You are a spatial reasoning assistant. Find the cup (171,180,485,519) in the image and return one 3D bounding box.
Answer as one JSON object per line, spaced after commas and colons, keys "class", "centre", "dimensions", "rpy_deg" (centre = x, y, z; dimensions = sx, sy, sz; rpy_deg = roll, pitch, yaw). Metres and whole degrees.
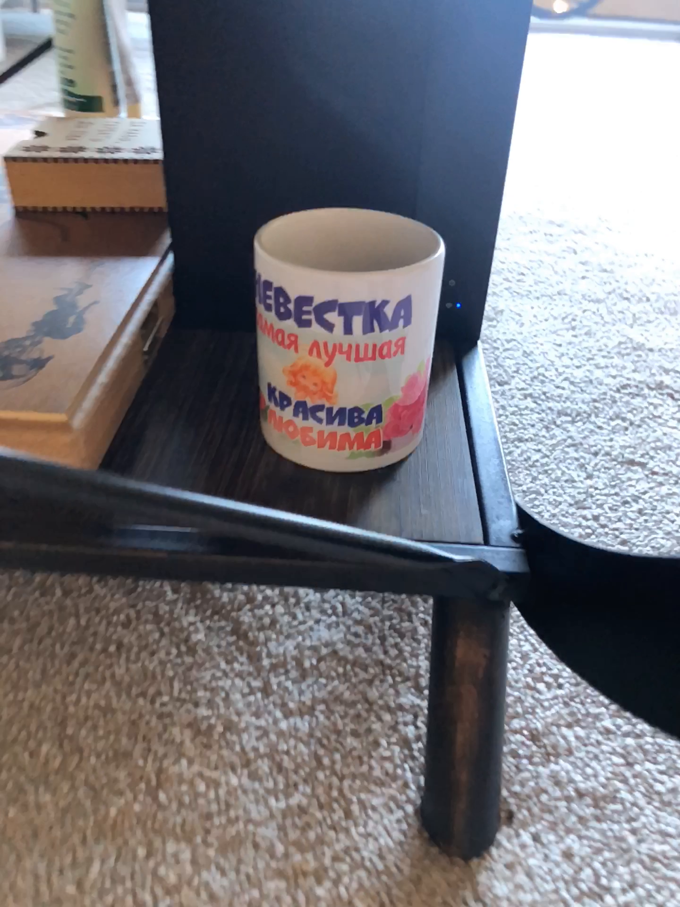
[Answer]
{"class": "cup", "centre": [0.000, -0.060, 0.370], "dimensions": [0.090, 0.100, 0.141], "rpy_deg": [17, 37, 19]}
